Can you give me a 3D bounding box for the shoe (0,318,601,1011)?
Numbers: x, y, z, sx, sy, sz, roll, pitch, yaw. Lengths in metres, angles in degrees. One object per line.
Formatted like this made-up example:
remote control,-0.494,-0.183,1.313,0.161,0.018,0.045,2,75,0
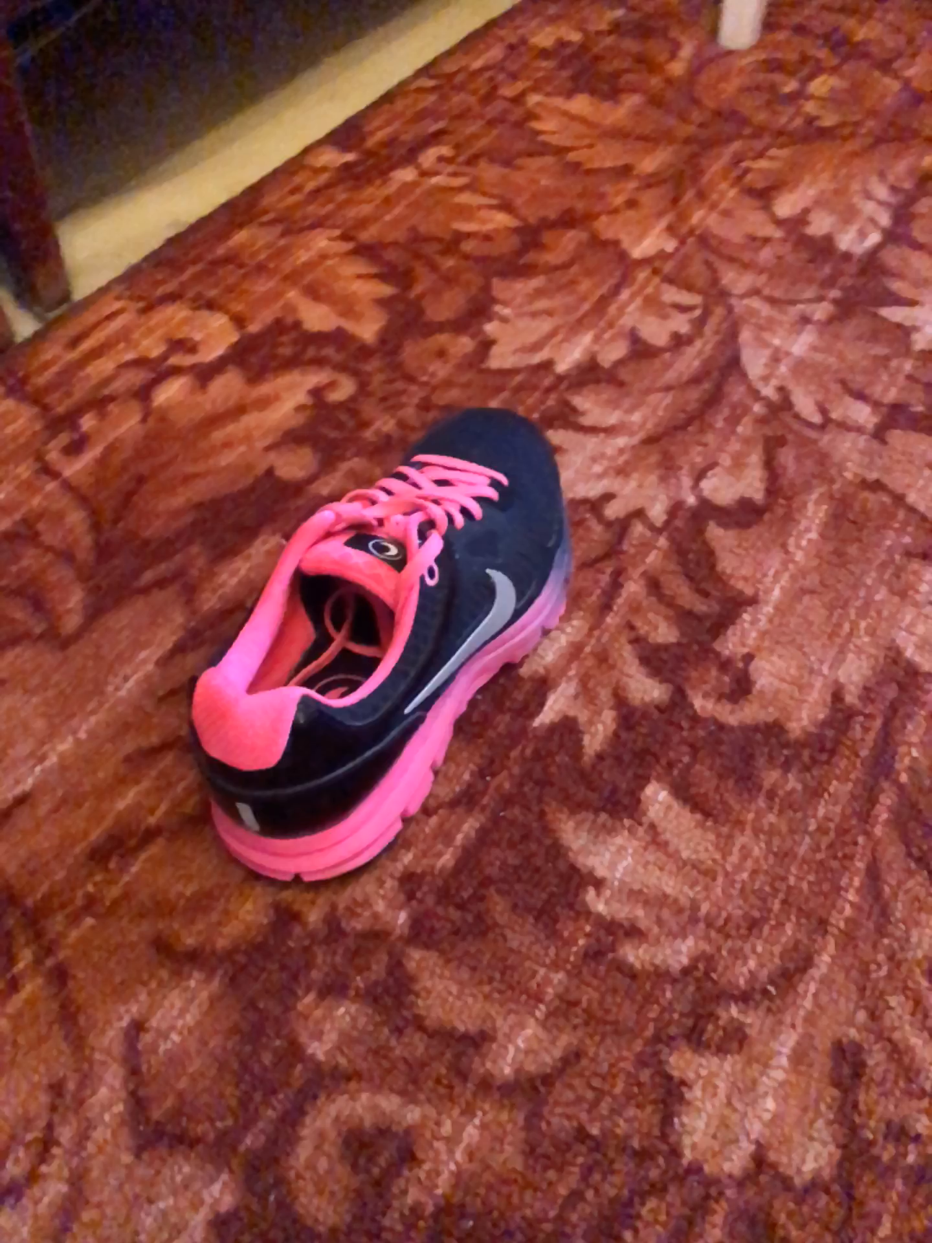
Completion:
shoe,-0.046,0.000,0.412,0.110,0.100,0.251,19,53,19
